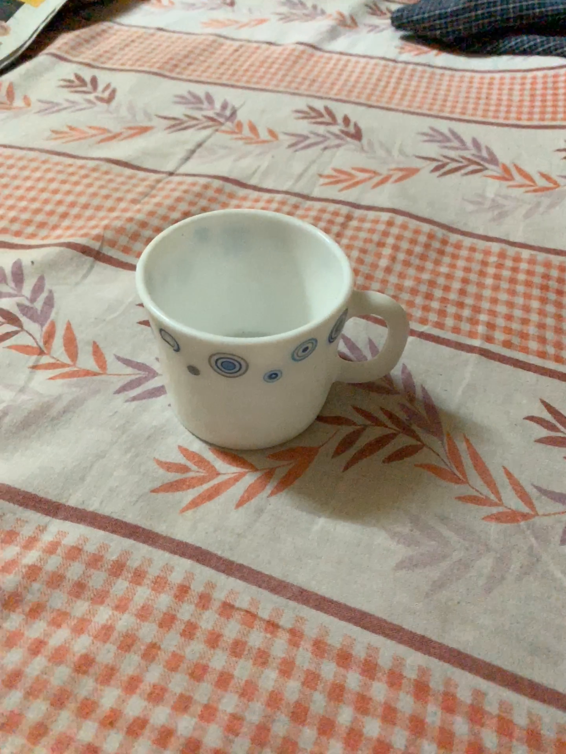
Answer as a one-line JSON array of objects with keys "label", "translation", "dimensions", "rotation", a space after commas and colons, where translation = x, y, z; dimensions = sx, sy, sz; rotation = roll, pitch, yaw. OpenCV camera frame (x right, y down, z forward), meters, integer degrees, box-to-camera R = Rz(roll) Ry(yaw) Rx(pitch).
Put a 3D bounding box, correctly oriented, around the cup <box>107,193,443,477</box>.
[{"label": "cup", "translation": [0.000, -0.016, 0.224], "dimensions": [0.100, 0.070, 0.070], "rotation": [6, 48, 3]}]
